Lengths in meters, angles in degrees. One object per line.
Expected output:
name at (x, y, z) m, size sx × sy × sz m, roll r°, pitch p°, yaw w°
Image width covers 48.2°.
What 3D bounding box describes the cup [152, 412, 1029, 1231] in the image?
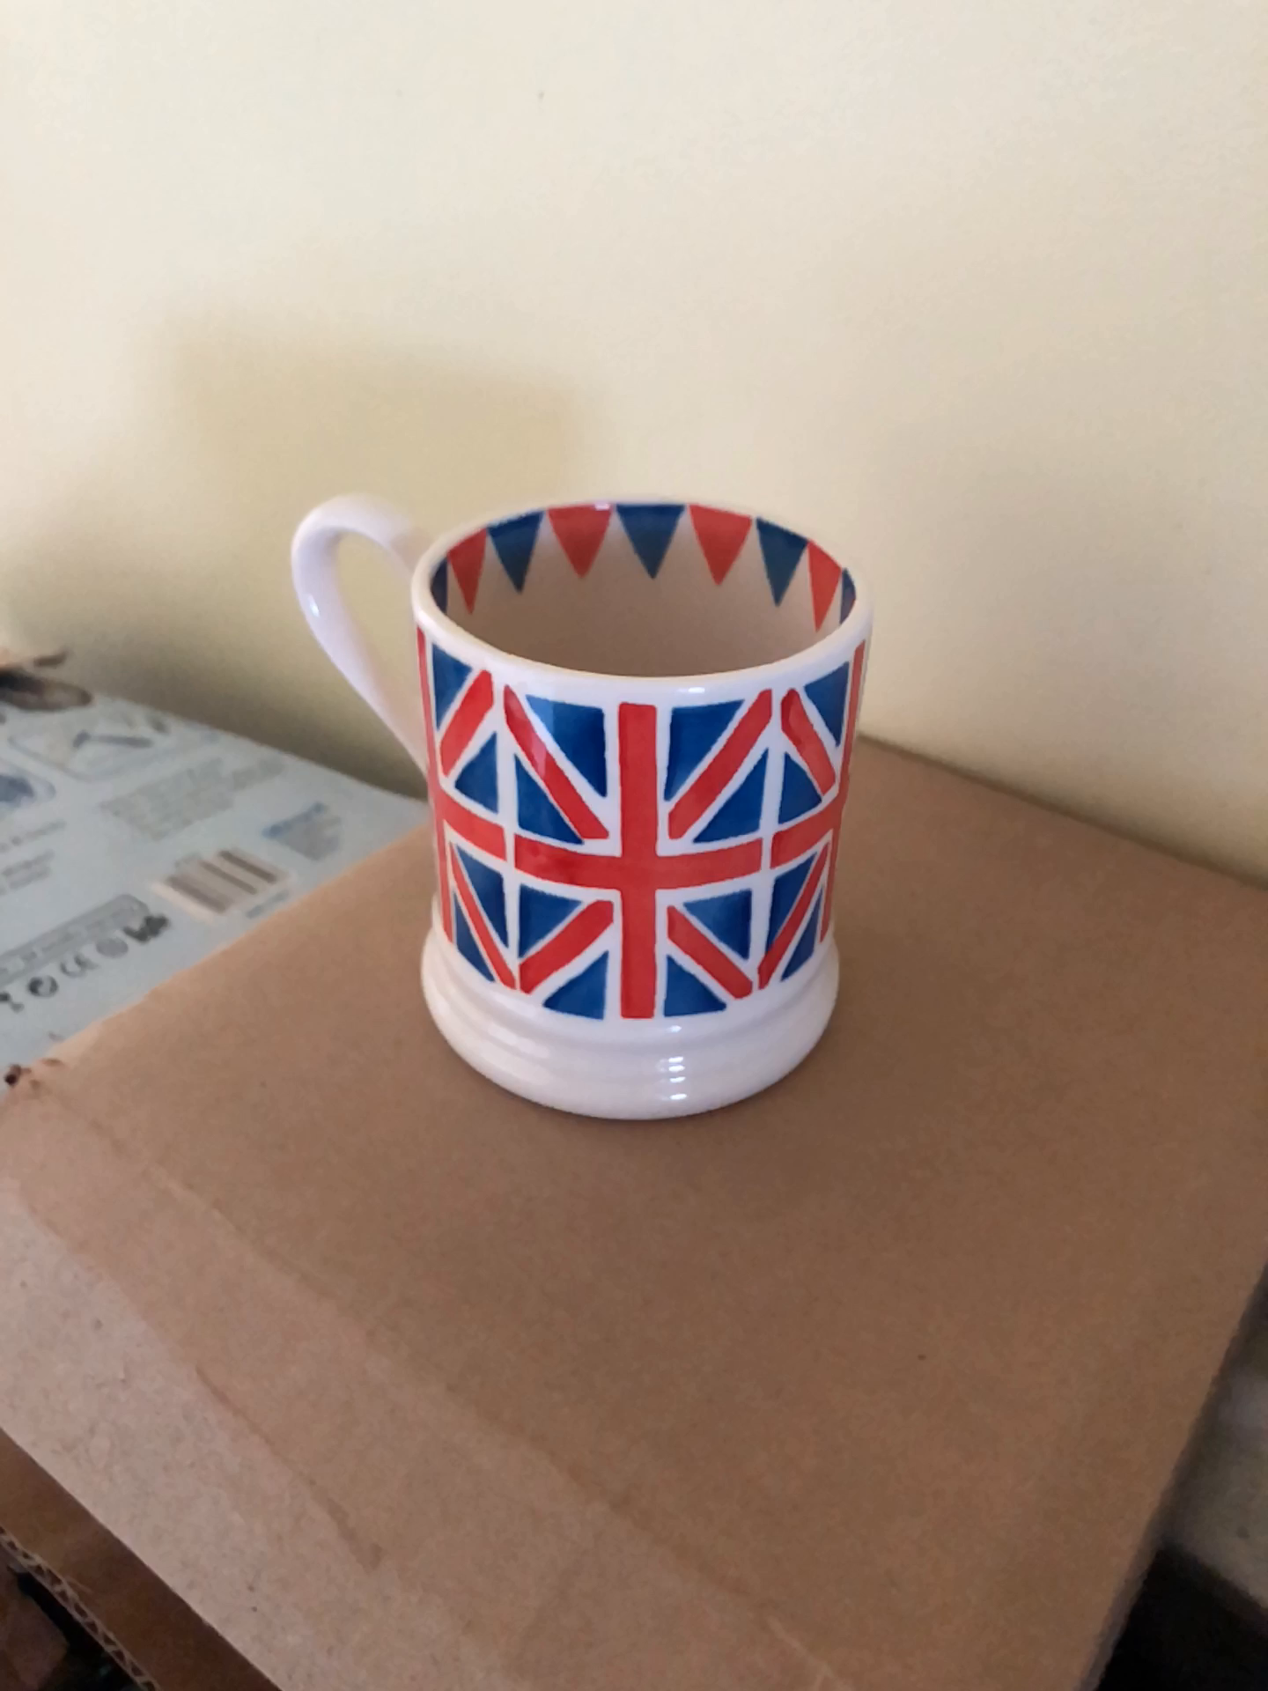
cup at (-0.008, -0.017, 0.292) m, size 0.130 × 0.099 × 0.101 m, roll 22°, pitch 40°, yaw 32°
